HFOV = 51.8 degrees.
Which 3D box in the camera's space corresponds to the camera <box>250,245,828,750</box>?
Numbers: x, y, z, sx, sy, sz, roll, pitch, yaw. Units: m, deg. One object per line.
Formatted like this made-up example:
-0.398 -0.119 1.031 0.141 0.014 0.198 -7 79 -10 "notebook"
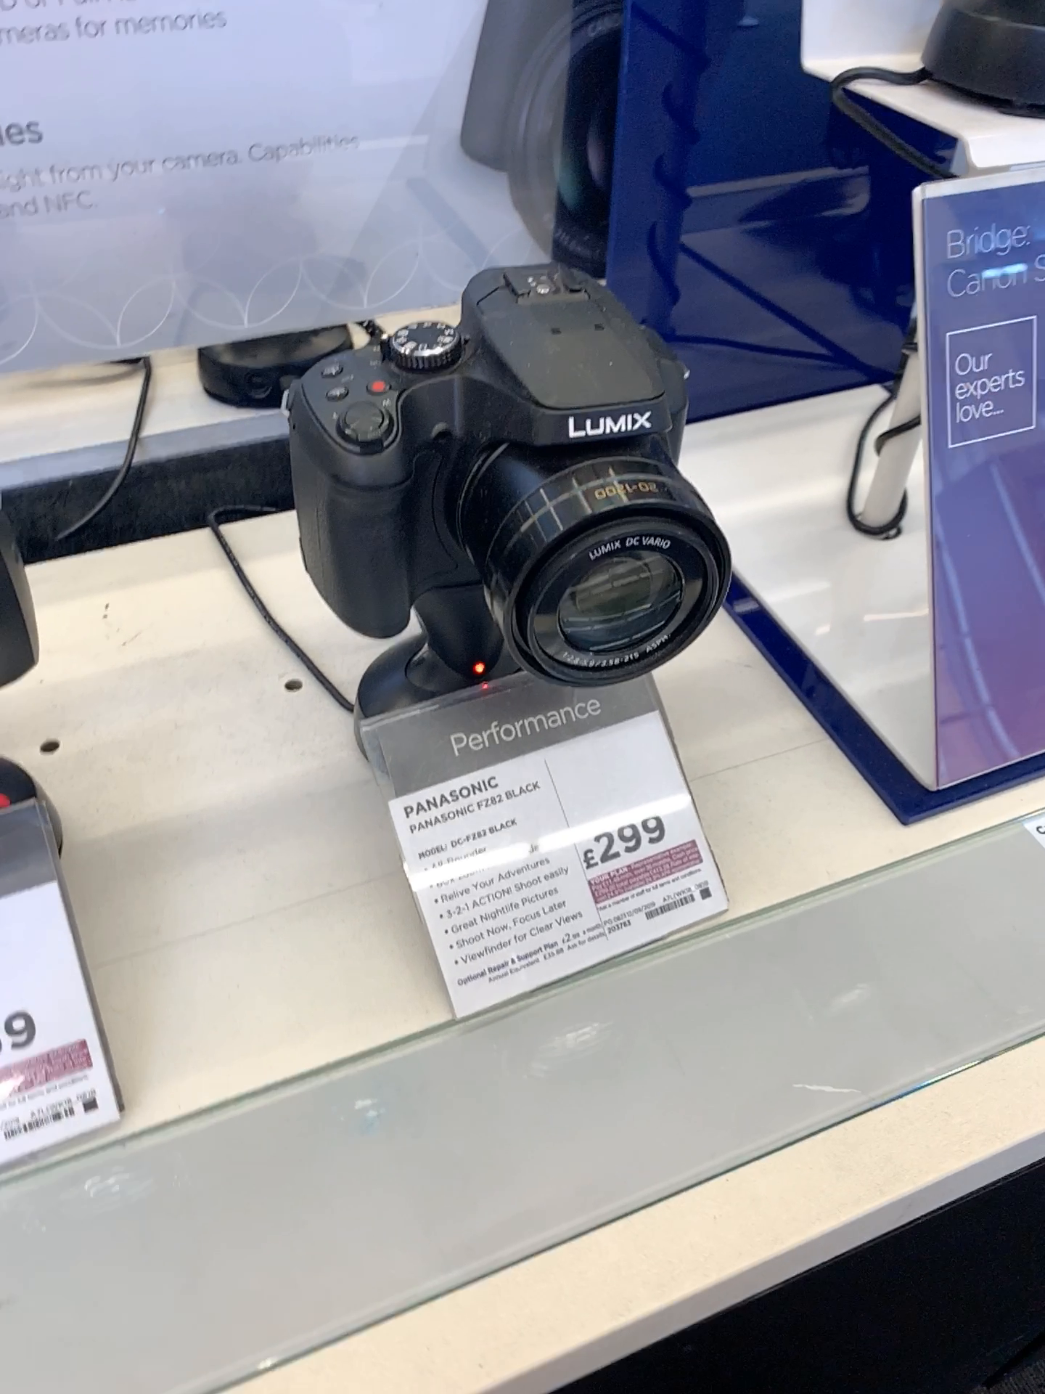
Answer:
-0.003 -0.068 0.330 0.130 0.079 0.121 -13 46 -14 "camera"
